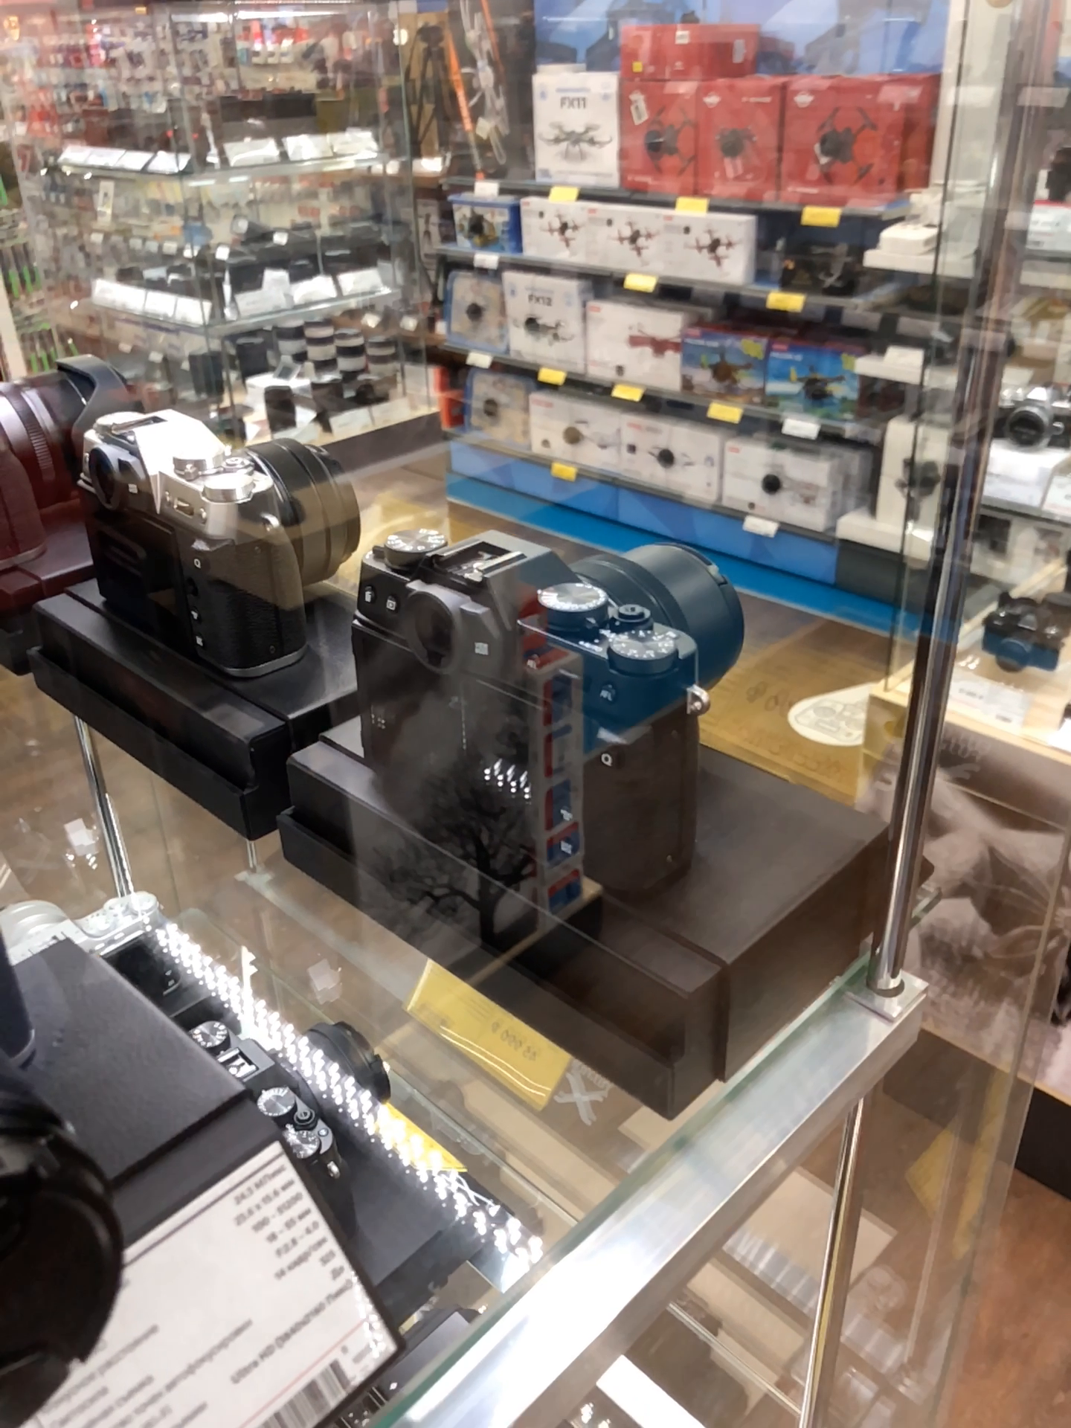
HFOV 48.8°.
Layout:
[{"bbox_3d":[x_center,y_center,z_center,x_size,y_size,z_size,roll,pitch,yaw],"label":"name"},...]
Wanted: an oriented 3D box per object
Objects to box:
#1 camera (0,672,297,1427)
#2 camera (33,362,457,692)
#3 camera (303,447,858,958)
[{"bbox_3d":[-0.130,0.071,0.206,0.120,0.089,0.114,23,38,37],"label":"camera"},{"bbox_3d":[-0.112,-0.081,0.466,0.109,0.078,0.114,-27,38,-37],"label":"camera"},{"bbox_3d":[0.015,-0.014,0.358,0.114,0.089,0.110,22,37,36],"label":"camera"}]
